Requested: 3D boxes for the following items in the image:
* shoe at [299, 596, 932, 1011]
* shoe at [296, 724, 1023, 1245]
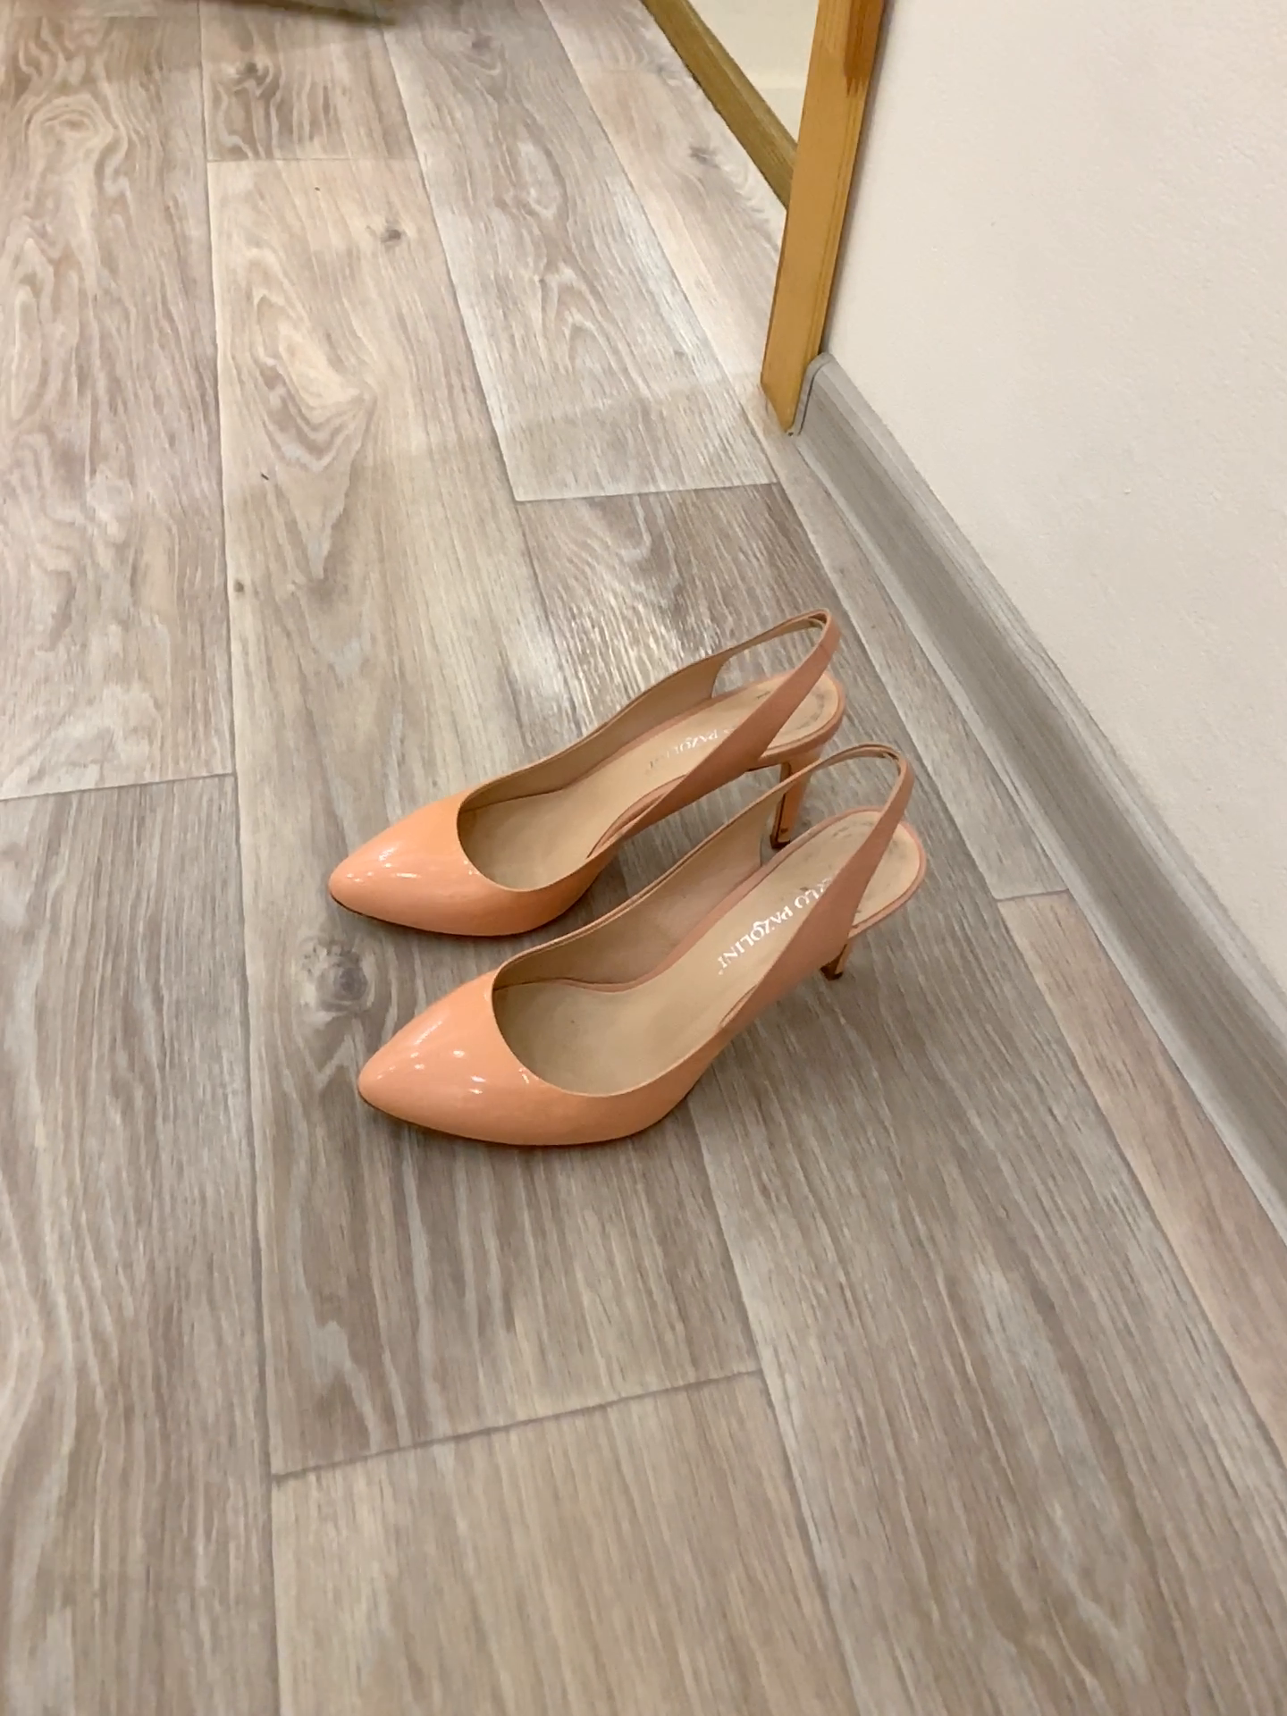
[{"bbox_3d":[-0.016,-0.025,0.574,0.240,0.119,0.090,-9,51,-13],"label":"shoe"},{"bbox_3d":[0.003,0.046,0.508,0.240,0.119,0.090,-14,52,-17],"label":"shoe"}]
